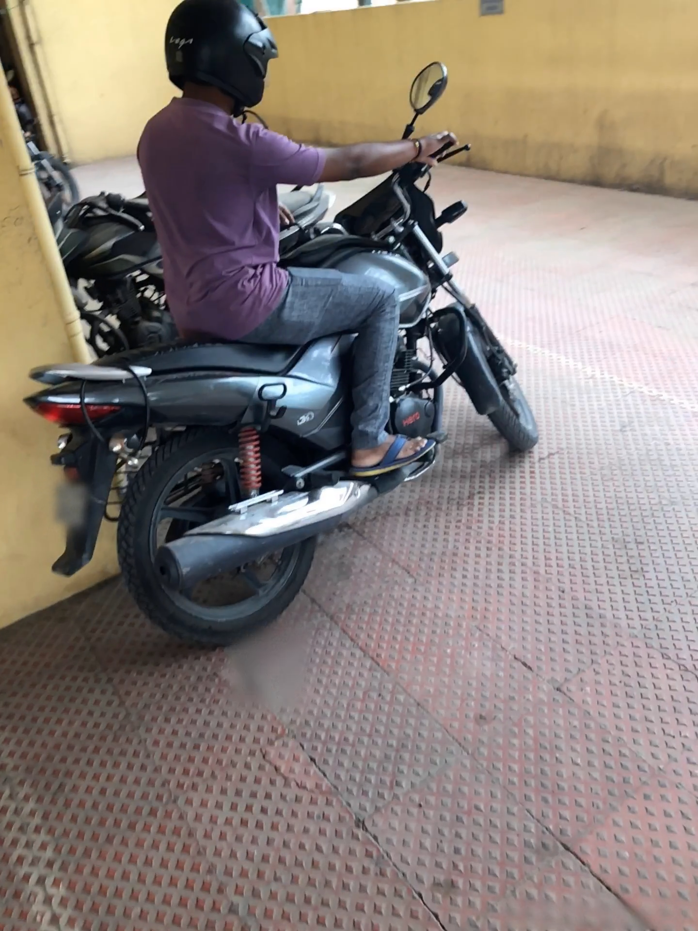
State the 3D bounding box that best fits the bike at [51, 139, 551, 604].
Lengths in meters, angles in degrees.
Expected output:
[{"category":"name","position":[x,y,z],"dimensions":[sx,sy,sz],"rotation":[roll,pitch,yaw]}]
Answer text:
[{"category":"bike","position":[-0.032,-0.397,2.391],"dimensions":[0.701,0.999,1.241],"rotation":[22,39,39]}]
